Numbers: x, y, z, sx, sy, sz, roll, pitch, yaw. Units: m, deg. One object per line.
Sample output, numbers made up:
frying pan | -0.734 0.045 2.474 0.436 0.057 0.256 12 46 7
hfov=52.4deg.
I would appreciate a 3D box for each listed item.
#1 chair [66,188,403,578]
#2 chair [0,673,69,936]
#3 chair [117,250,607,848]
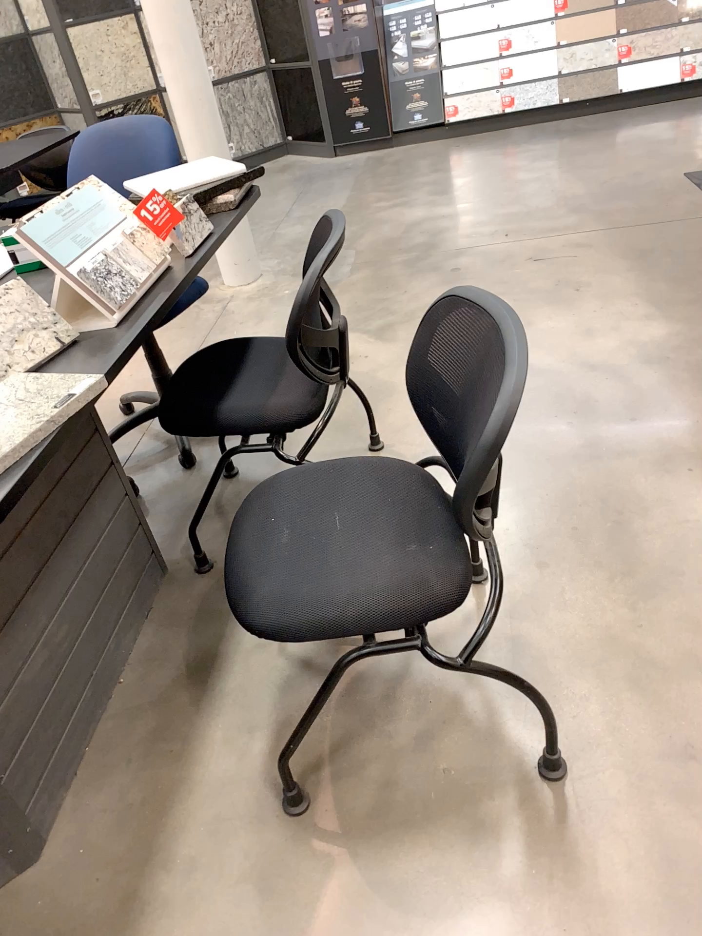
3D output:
chair | -0.215 -0.219 1.901 0.584 0.777 0.597 -6 35 10
chair | -0.802 0.830 0.533 0.704 0.886 0.647 -27 37 -23
chair | 0.045 0.135 1.311 0.594 0.777 0.607 -13 34 0
